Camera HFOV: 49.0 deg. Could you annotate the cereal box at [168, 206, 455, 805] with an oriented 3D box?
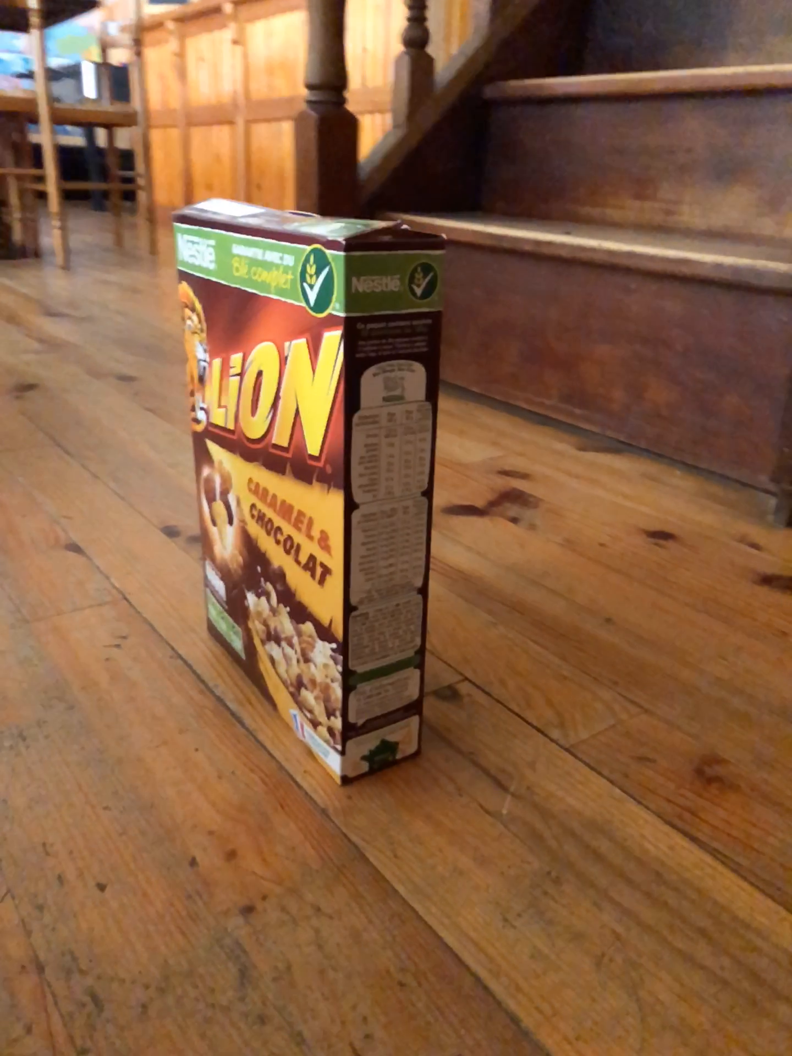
[{"bbox_3d":[-0.058,-0.027,0.488,0.060,0.279,0.200,-11,25,-30],"label":"cereal box"}]
